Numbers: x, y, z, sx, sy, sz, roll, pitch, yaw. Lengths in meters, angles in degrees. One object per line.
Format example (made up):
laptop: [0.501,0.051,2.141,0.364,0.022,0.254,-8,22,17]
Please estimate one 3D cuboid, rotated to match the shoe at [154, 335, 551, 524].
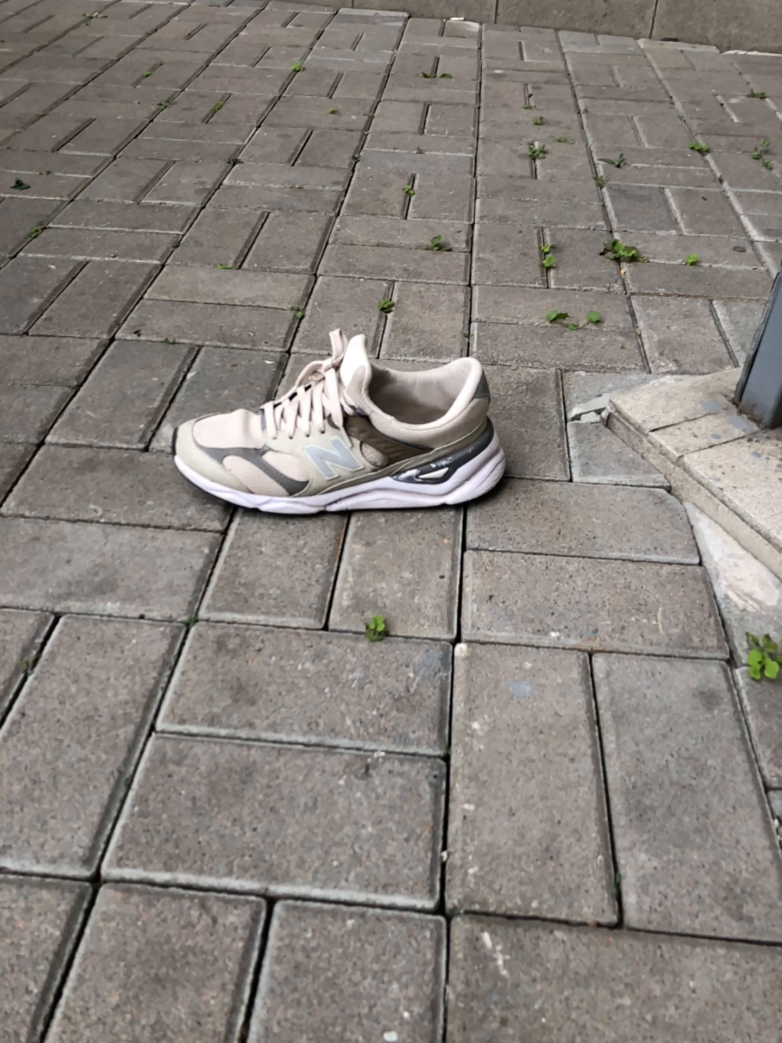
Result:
shoe: [-0.031,-0.079,0.725,0.300,0.109,0.121,0,39,-3]
